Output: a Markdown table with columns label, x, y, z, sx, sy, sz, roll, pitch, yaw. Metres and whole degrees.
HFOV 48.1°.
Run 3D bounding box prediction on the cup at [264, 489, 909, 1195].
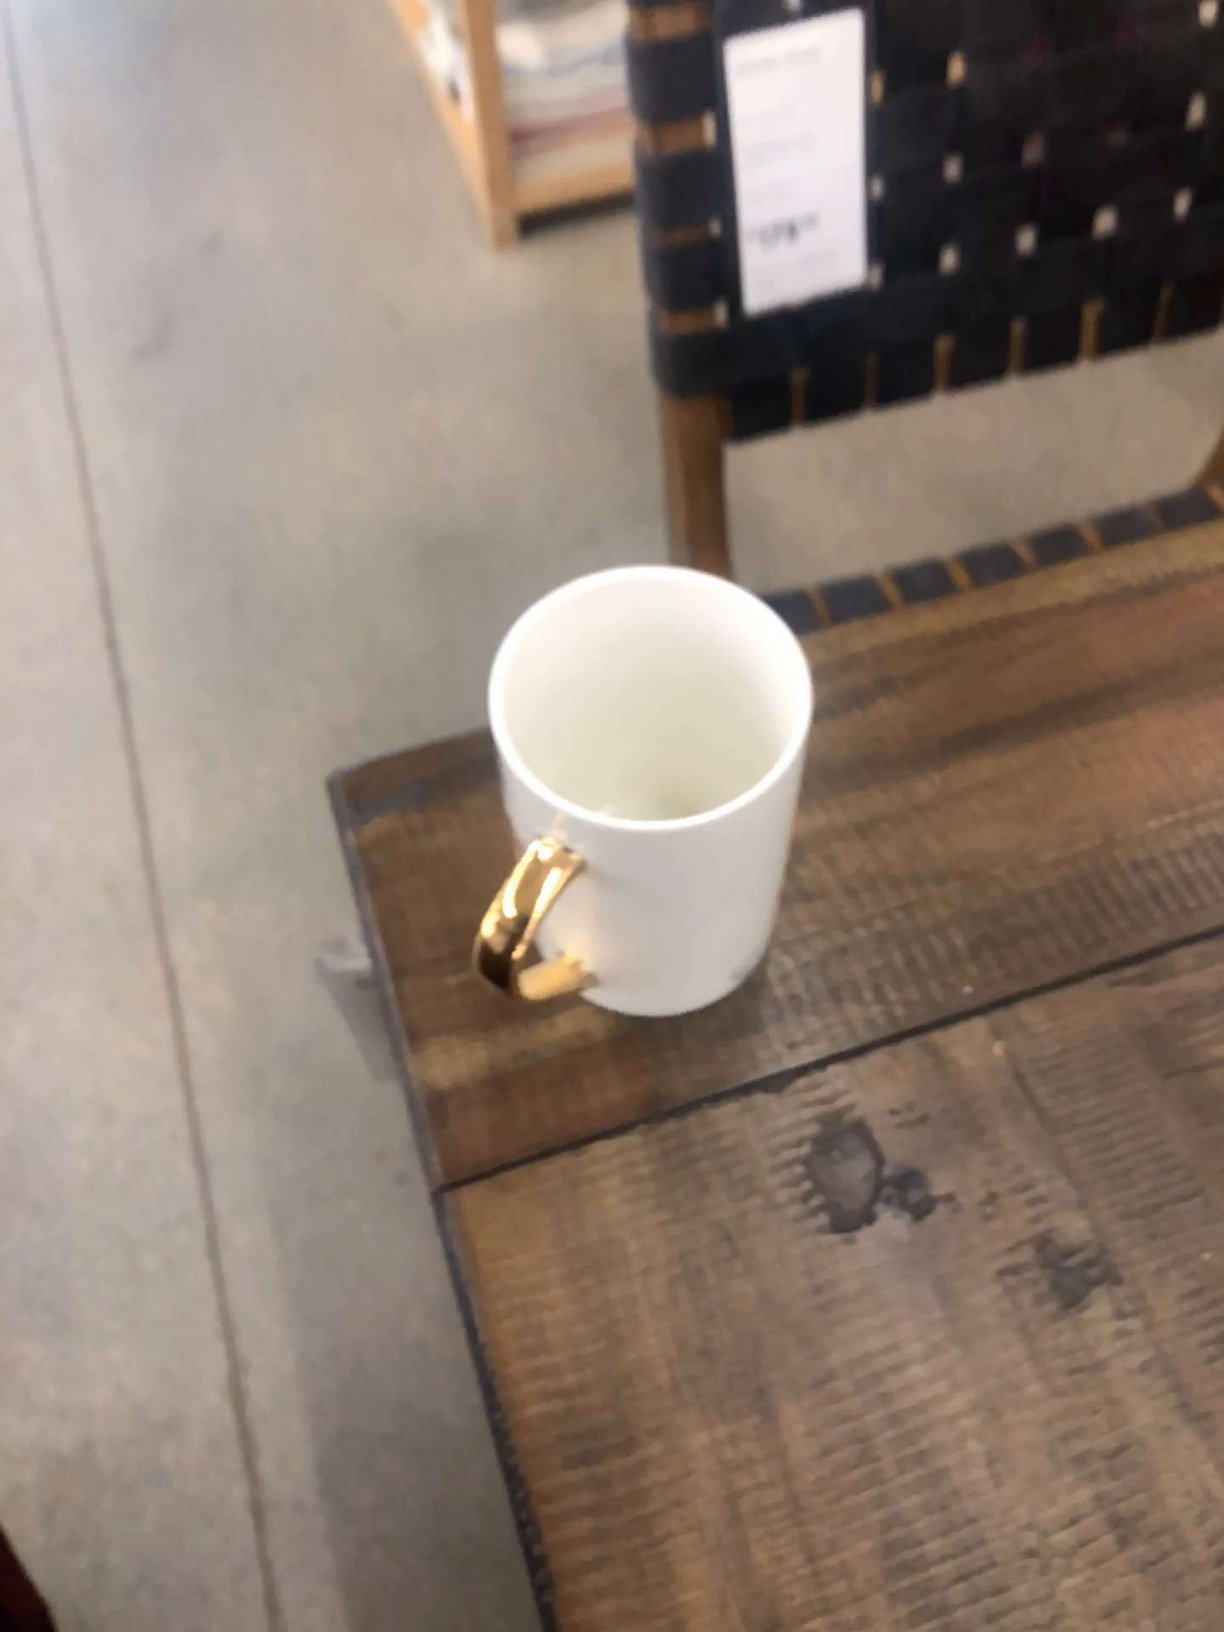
| label | x | y | z | sx | sy | sz | roll | pitch | yaw |
| --- | --- | --- | --- | --- | --- | --- | --- | --- | --- |
| cup | -0.004 | 0.010 | 0.371 | 0.097 | 0.116 | 0.119 | 36 | 66 | 20 |
